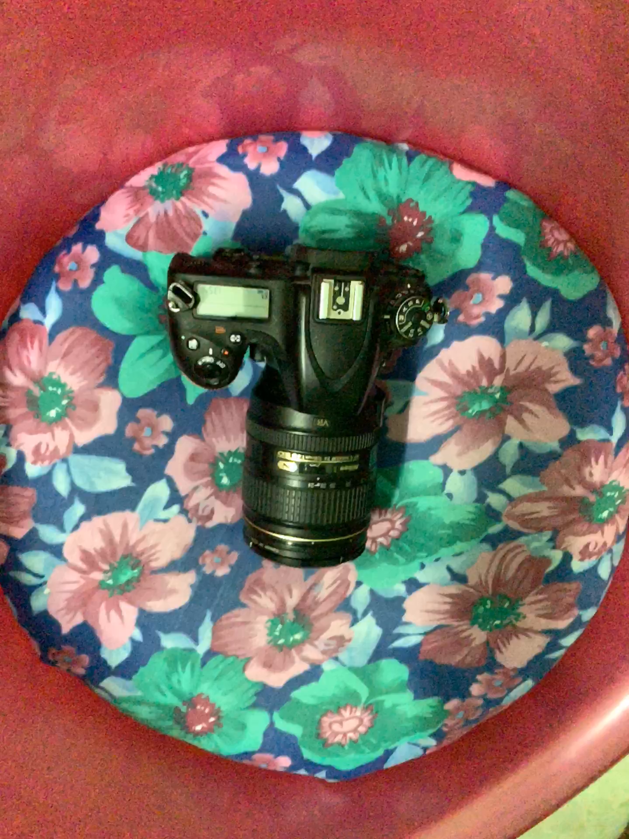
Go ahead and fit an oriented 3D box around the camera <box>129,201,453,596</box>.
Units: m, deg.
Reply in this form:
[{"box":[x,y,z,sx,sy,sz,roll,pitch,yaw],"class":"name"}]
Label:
[{"box":[-0.017,-0.015,0.357,0.140,0.111,0.180,4,103,-3],"class":"camera"}]
